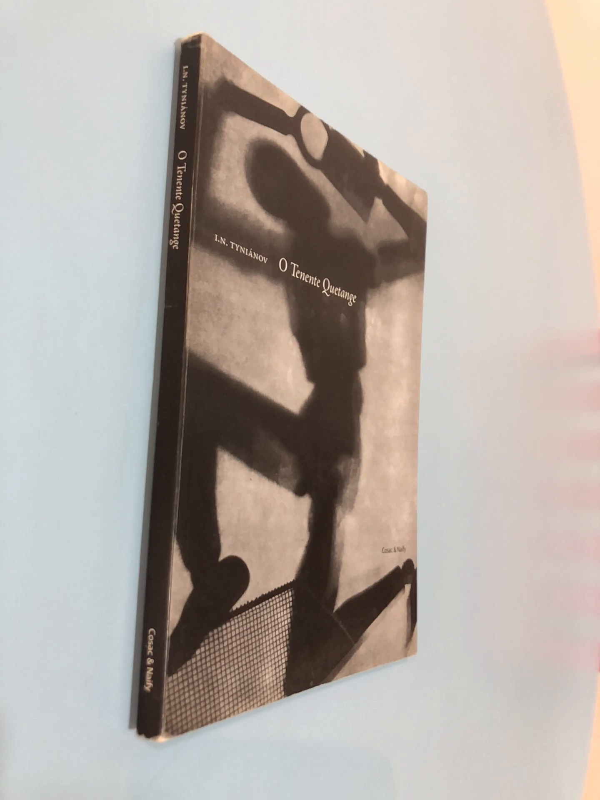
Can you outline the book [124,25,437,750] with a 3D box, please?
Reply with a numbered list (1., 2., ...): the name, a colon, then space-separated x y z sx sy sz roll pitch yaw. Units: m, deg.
1. book: 0.007 -0.001 0.236 0.135 0.016 0.196 12 79 -50
